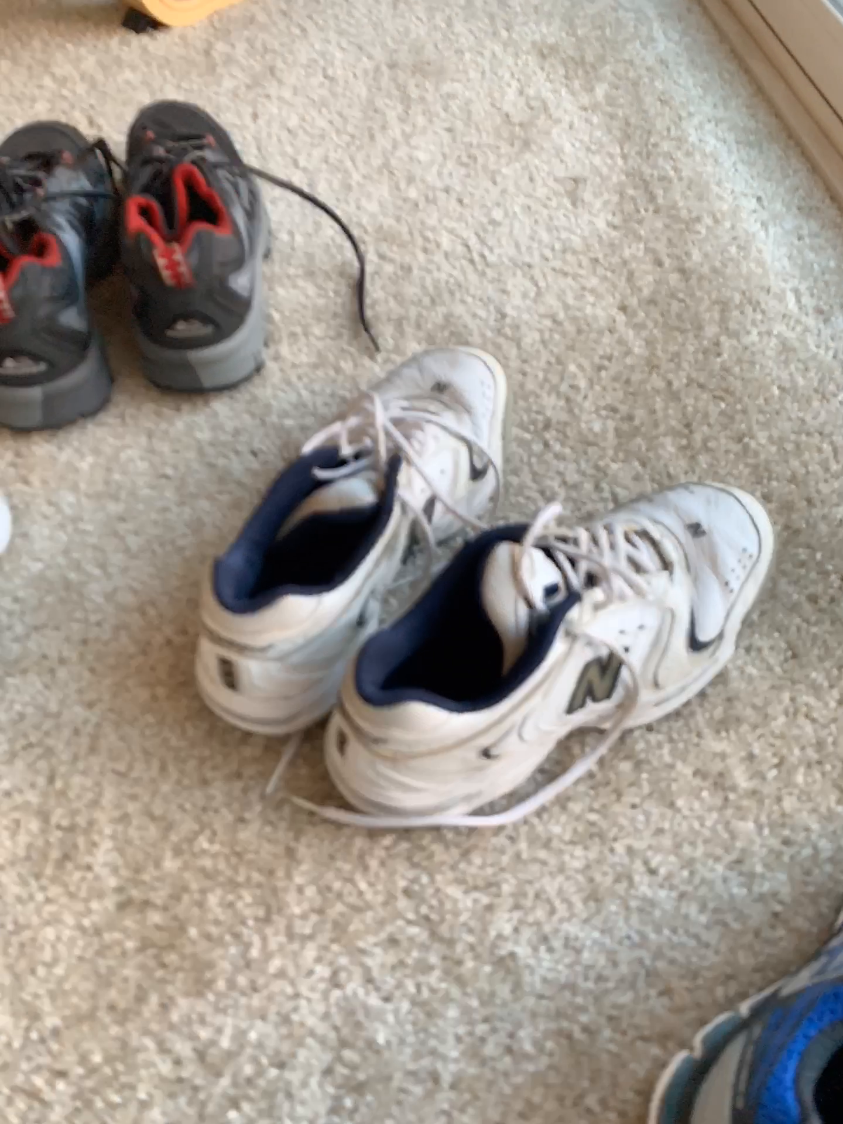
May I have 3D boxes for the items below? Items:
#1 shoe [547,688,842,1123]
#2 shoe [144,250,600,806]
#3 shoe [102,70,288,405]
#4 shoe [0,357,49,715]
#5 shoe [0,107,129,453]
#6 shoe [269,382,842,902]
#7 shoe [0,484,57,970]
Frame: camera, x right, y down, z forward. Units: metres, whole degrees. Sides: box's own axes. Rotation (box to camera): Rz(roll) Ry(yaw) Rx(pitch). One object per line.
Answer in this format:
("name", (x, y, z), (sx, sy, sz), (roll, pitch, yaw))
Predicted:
("shoe", (0.240, 0.196, 0.408), (0.340, 0.090, 0.110), (-23, 61, -19))
("shoe", (-0.013, -0.037, 0.545), (0.120, 0.129, 0.331), (24, 58, 12))
("shoe", (-0.173, -0.253, 0.639), (0.100, 0.090, 0.271), (-9, 57, -10))
("shoe", (-0.381, -0.021, 0.499), (0.270, 0.090, 0.110), (-17, 59, -15))
("shoe", (-0.286, -0.219, 0.634), (0.100, 0.090, 0.271), (-9, 58, -10))
("shoe", (0.094, 0.030, 0.474), (0.330, 0.090, 0.120), (-28, 62, -21))
("shoe", (-0.367, 0.078, 0.457), (0.280, 0.090, 0.110), (-27, 62, -20))
